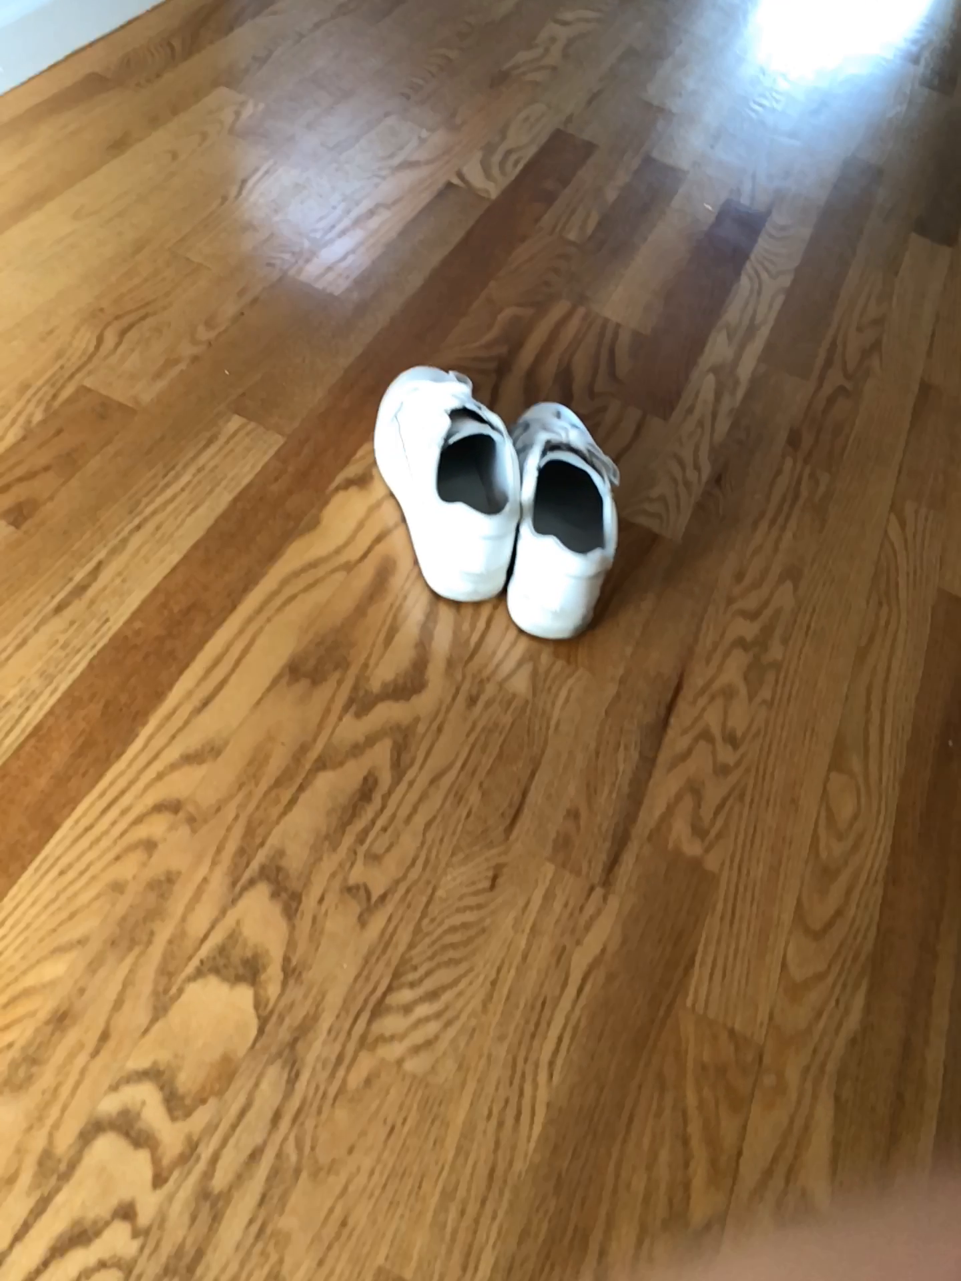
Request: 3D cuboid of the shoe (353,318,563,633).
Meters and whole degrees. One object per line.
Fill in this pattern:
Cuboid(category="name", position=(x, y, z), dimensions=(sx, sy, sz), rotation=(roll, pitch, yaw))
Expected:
Cuboid(category="shoe", position=(-0.029, -0.146, 0.886), dimensions=(0.103, 0.104, 0.261), rotation=(-5, 55, -18))

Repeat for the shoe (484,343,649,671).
Cuboid(category="shoe", position=(0.070, -0.118, 0.889), dimensions=(0.102, 0.106, 0.261), rotation=(9, 52, -8))
